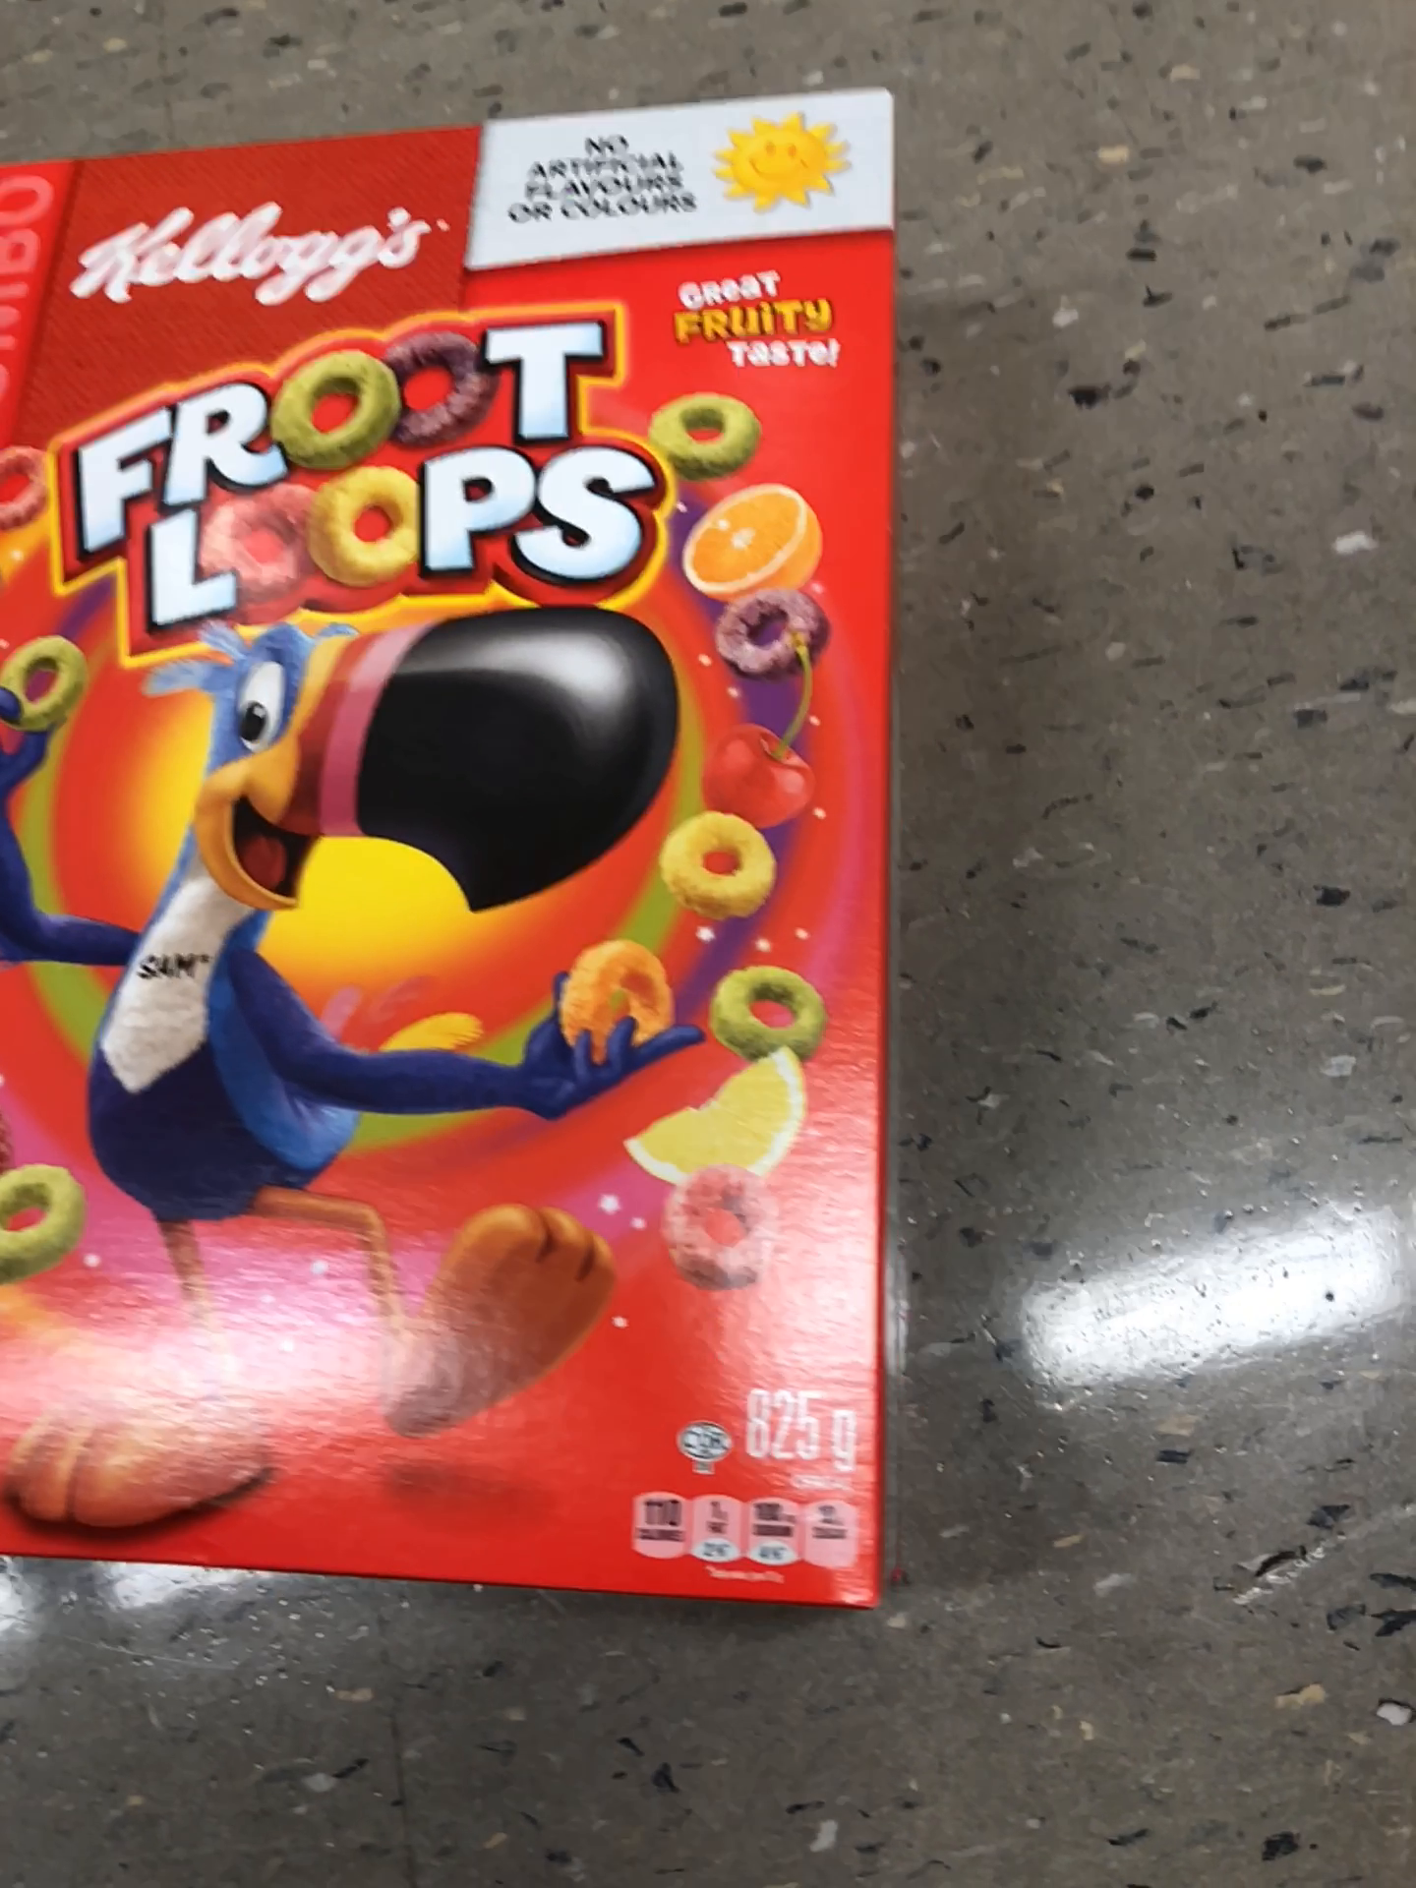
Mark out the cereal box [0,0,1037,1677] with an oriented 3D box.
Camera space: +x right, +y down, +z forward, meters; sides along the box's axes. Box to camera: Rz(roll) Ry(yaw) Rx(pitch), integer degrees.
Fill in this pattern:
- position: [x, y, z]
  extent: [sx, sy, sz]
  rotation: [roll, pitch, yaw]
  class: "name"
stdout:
- position: [-0.070, -0.043, 0.357]
  extent: [0.270, 0.080, 0.360]
  rotation: [-1, 69, 9]
  class: "cereal box"
